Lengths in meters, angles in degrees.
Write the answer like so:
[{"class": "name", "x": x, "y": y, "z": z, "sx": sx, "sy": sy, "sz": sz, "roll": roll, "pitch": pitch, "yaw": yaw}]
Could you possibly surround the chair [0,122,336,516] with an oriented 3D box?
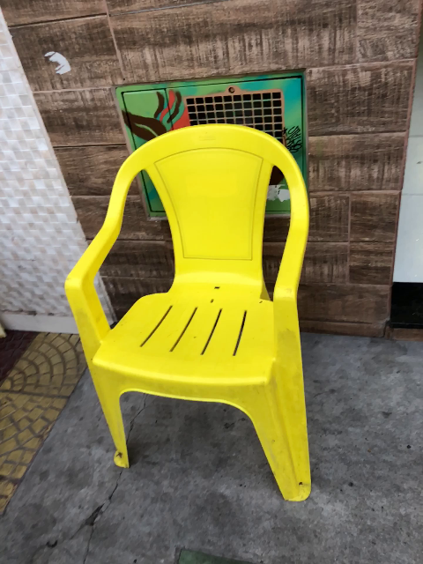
[{"class": "chair", "x": -0.042, "y": 0.076, "z": 1.184, "sx": 0.641, "sy": 0.745, "sz": 0.543, "roll": 4, "pitch": 40, "yaw": 19}]
